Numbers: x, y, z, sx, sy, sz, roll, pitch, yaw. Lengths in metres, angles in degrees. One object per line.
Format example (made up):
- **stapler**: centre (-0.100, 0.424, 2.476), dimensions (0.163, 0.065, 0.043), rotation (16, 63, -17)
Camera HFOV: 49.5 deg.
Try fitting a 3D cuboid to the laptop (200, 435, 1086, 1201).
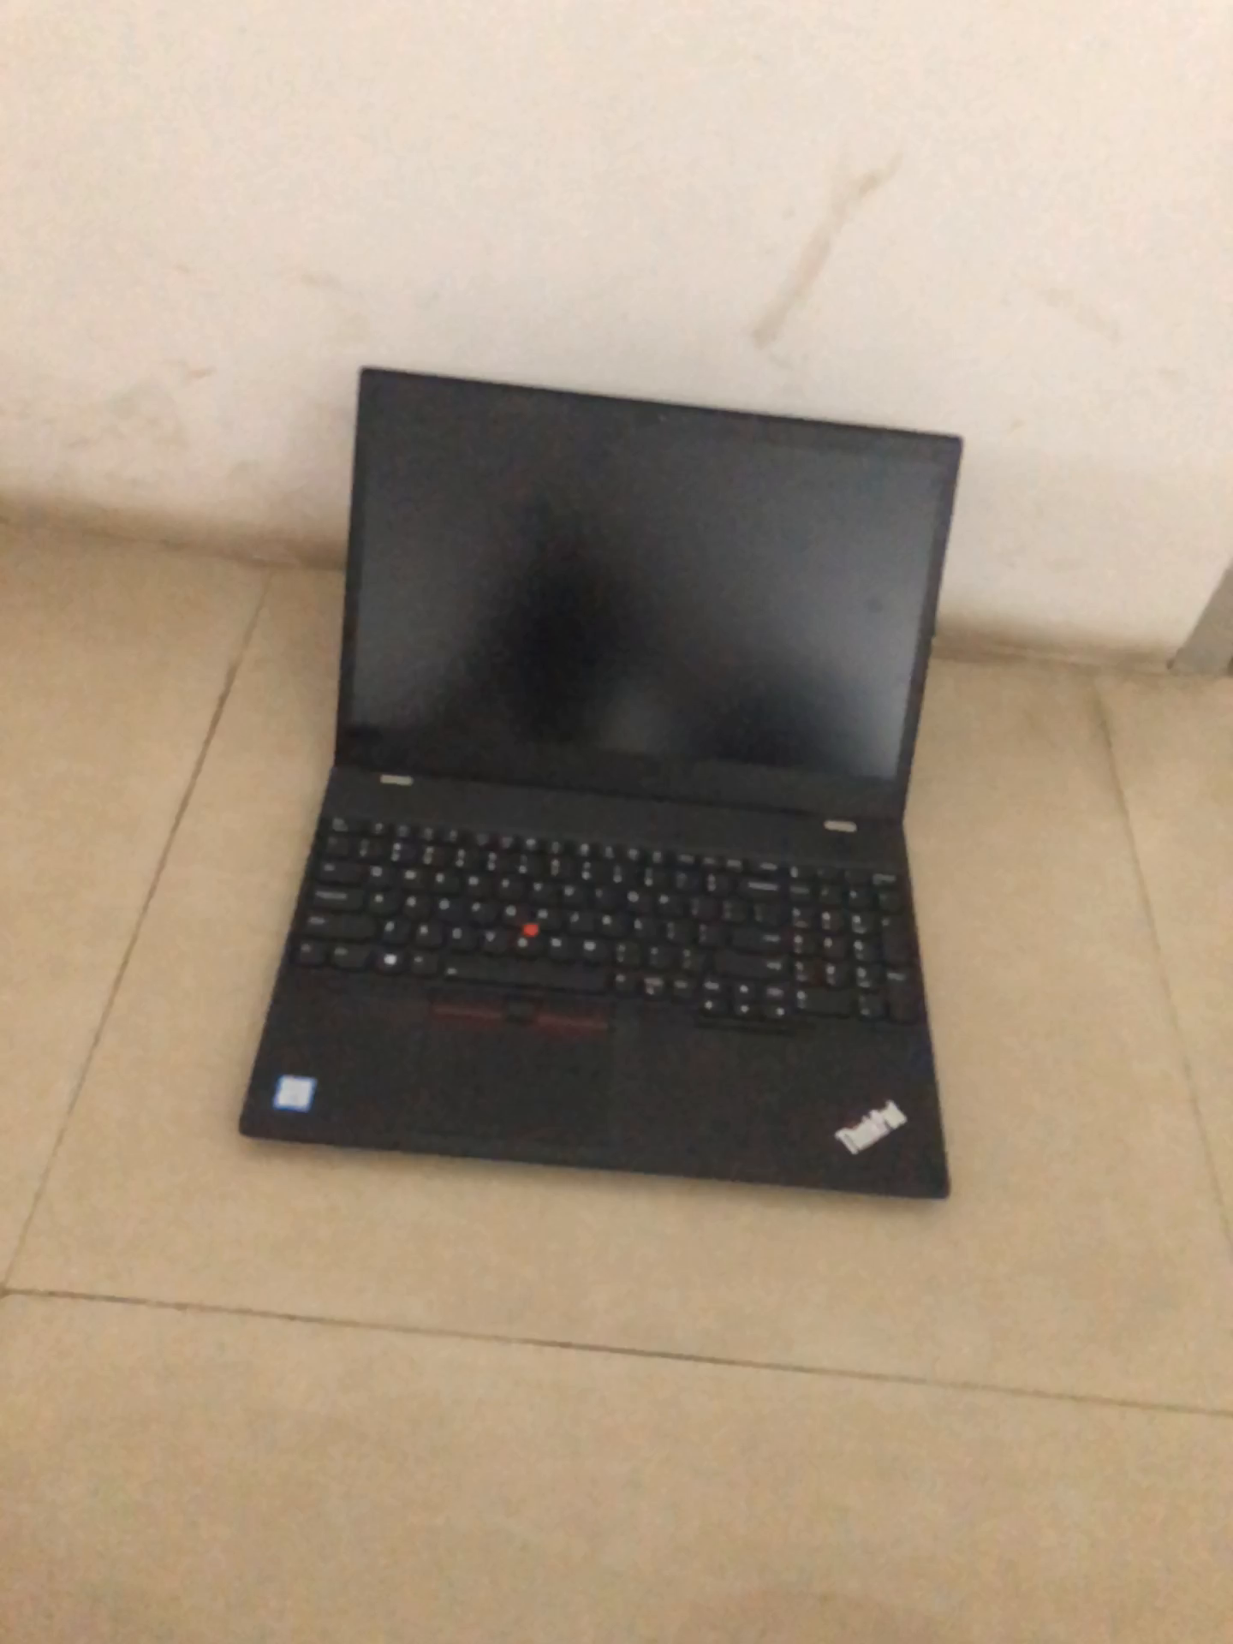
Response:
- **laptop**: centre (0.004, -0.016, 0.720), dimensions (0.344, 0.192, 0.364), rotation (6, 44, -5)
